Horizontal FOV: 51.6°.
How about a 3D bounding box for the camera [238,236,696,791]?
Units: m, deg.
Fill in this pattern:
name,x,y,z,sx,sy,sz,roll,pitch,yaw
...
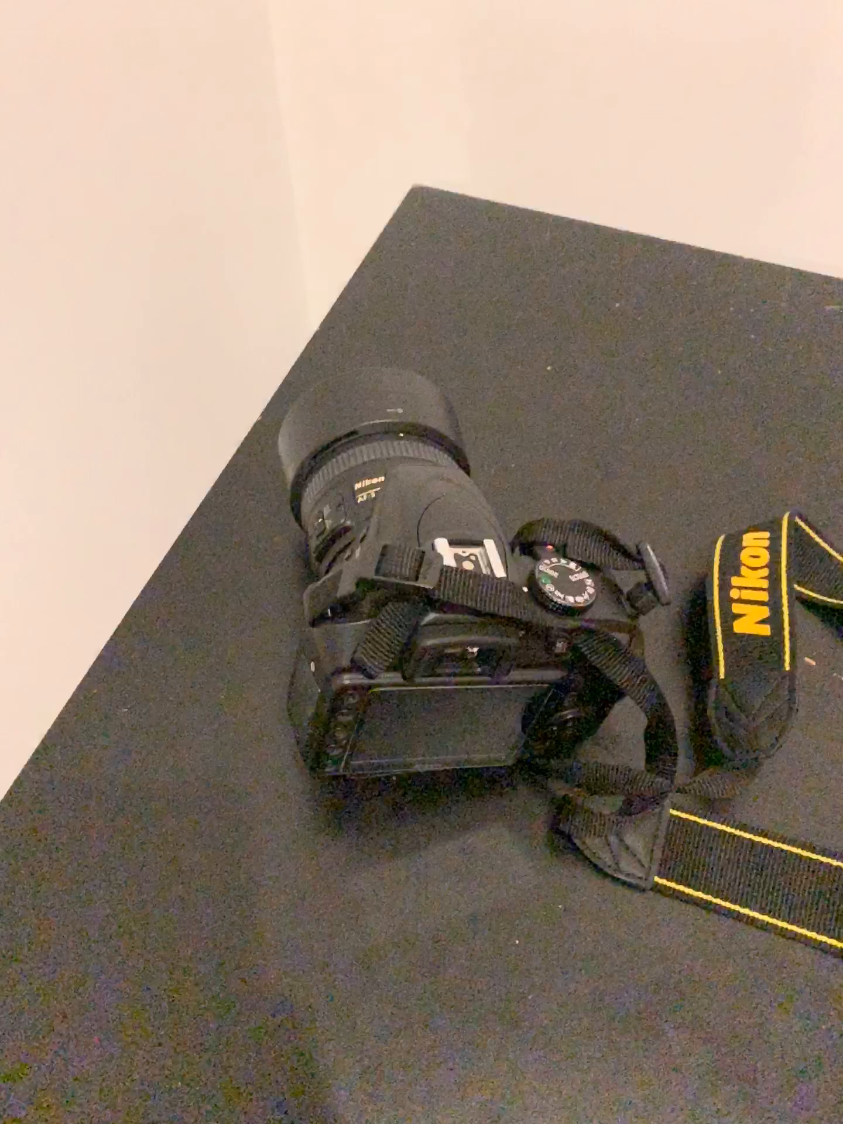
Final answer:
name,x,y,z,sx,sy,sz,roll,pitch,yaw
camera,-0.002,-0.031,0.363,0.116,0.089,0.220,1,47,-21
